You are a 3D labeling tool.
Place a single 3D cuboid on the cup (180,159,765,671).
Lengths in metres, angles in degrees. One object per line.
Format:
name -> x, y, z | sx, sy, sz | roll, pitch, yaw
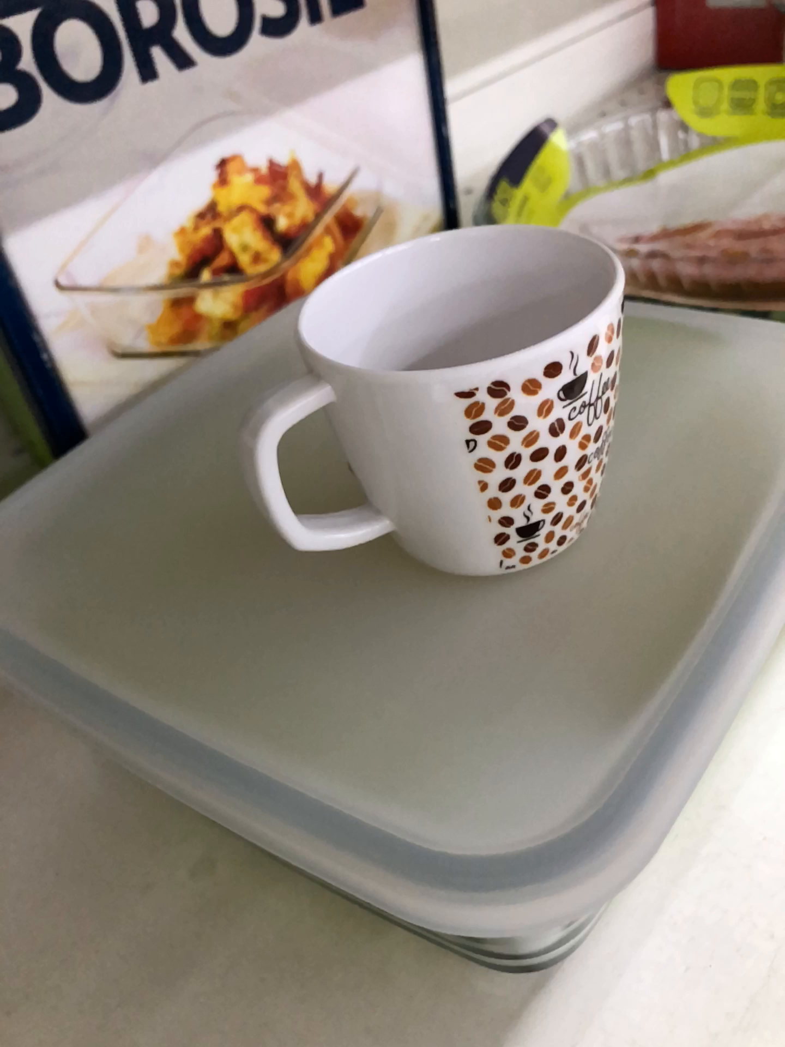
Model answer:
cup -> 0.015, -0.026, 0.166 | 0.080, 0.050, 0.060 | -28, 39, -19
